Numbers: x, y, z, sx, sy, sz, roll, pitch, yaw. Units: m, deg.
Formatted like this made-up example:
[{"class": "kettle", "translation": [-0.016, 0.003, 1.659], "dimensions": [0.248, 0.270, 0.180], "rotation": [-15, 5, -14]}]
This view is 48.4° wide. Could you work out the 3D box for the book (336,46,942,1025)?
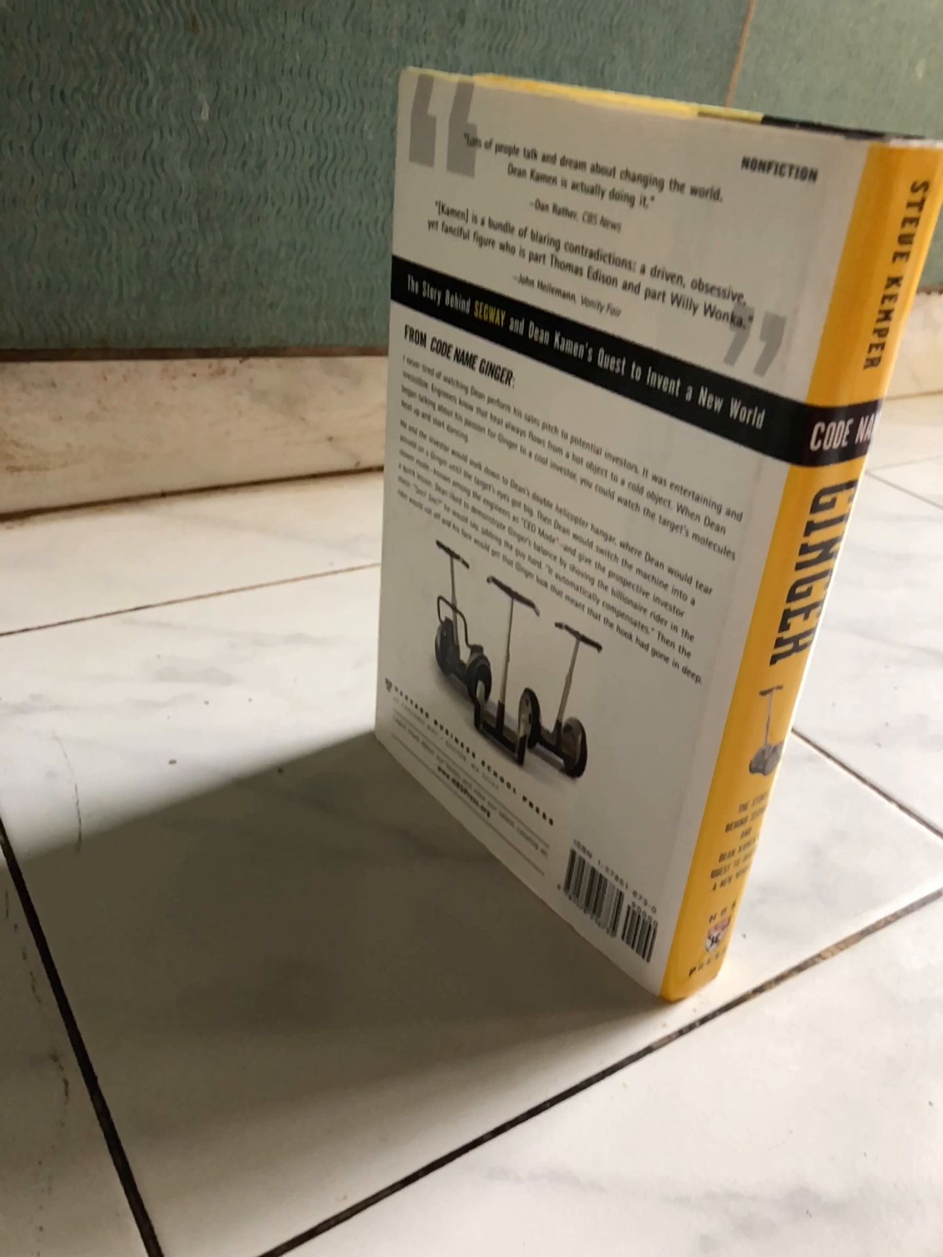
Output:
[{"class": "book", "translation": [0.028, -0.034, 0.323], "dimensions": [0.040, 0.239, 0.190], "rotation": [-17, 37, -34]}]
